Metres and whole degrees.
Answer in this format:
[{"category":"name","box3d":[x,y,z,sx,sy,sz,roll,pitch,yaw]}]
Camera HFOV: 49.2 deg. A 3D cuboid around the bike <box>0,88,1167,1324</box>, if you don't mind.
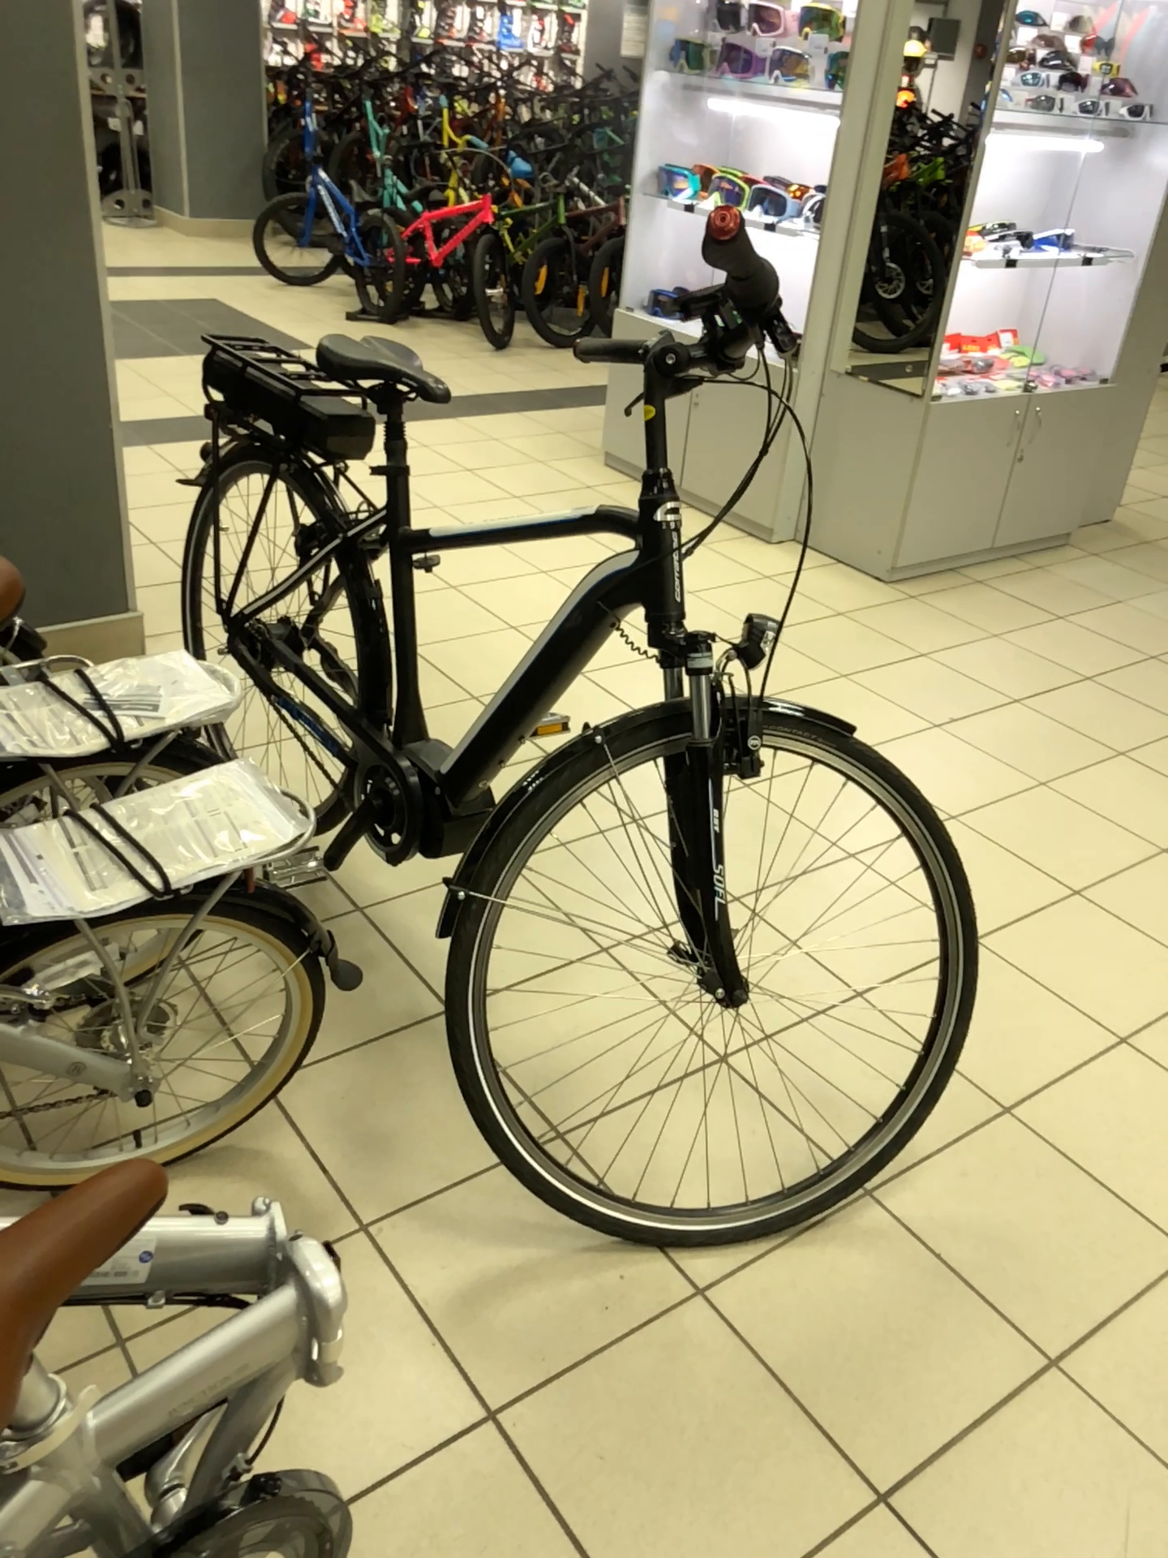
[{"category":"bike","box3d":[-0.133,-0.261,1.971,1.614,1.176,0.699,27,35,30]}]
